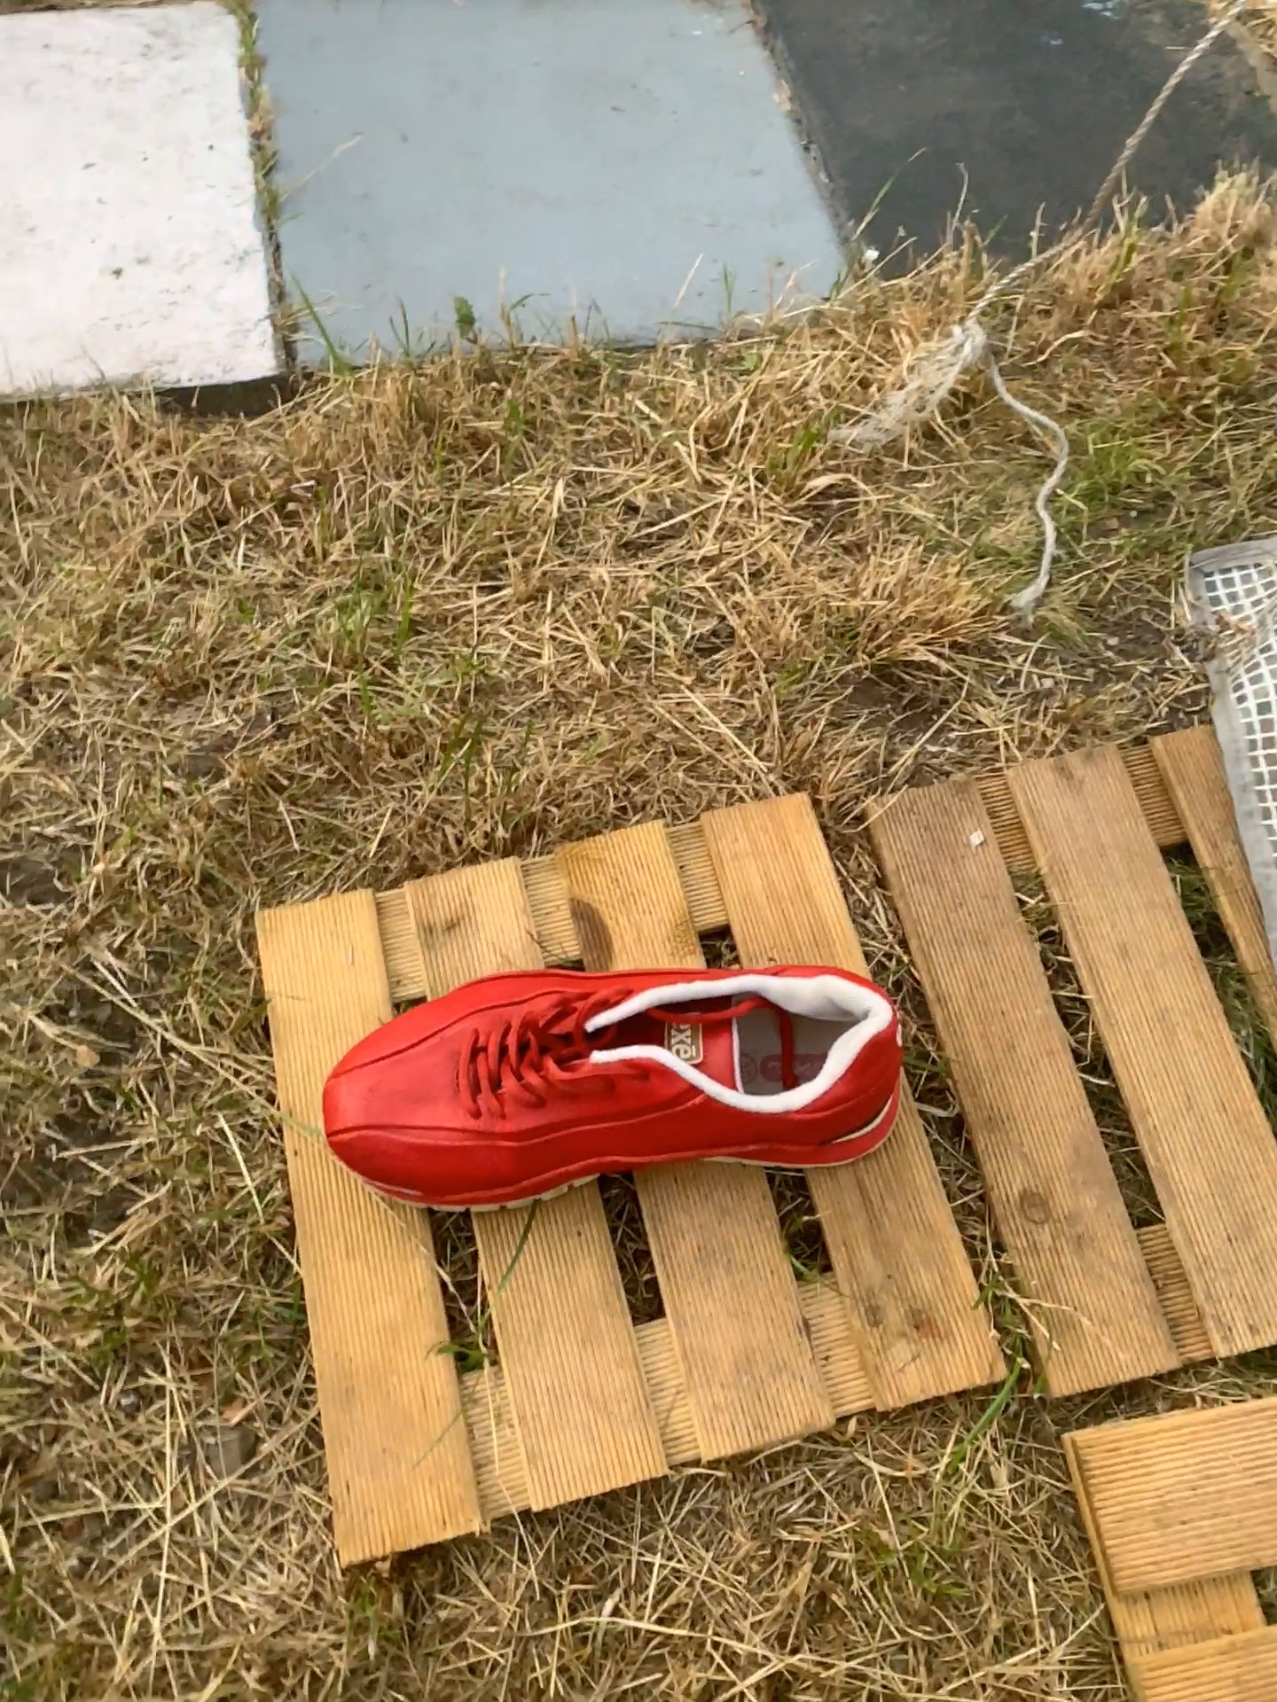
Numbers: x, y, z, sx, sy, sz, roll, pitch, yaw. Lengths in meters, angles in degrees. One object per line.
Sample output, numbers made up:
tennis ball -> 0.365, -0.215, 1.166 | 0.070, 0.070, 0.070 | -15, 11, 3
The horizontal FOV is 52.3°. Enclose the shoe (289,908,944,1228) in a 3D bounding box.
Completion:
shoe -> -0.009, 0.101, 0.581 | 0.260, 0.100, 0.100 | -4, 64, 3
